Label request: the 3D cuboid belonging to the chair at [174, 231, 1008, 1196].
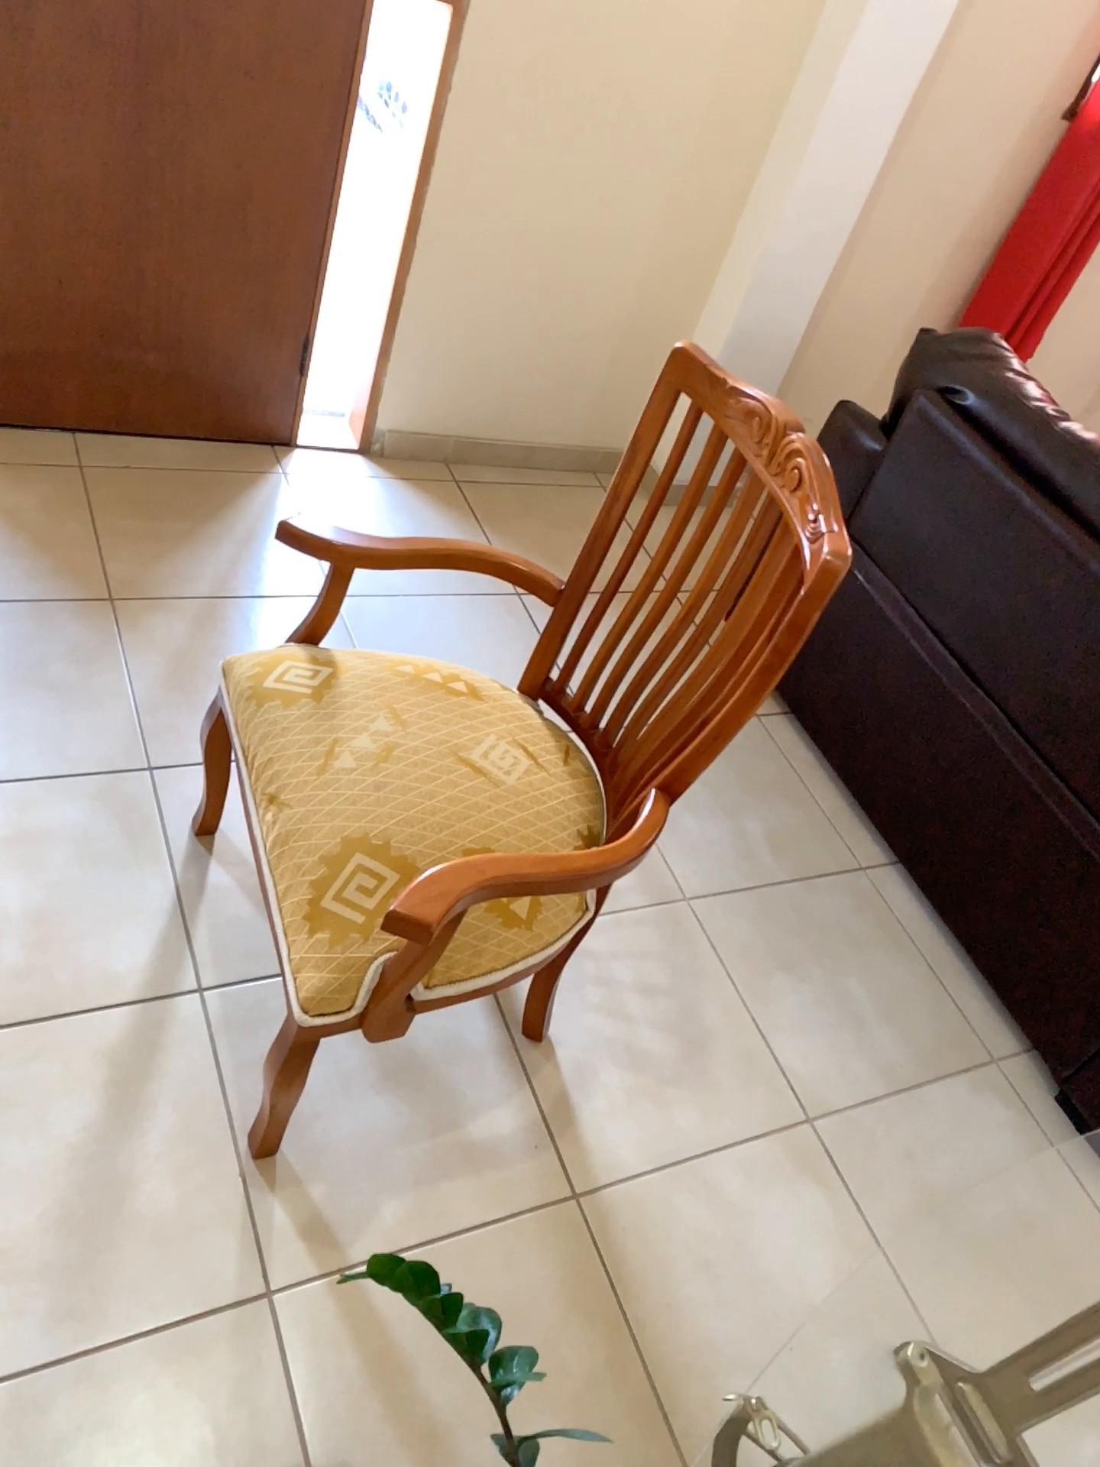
[{"bbox_3d":[-0.085,0.025,1.483,0.632,1.014,0.622,-2,47,-27],"label":"chair"}]
